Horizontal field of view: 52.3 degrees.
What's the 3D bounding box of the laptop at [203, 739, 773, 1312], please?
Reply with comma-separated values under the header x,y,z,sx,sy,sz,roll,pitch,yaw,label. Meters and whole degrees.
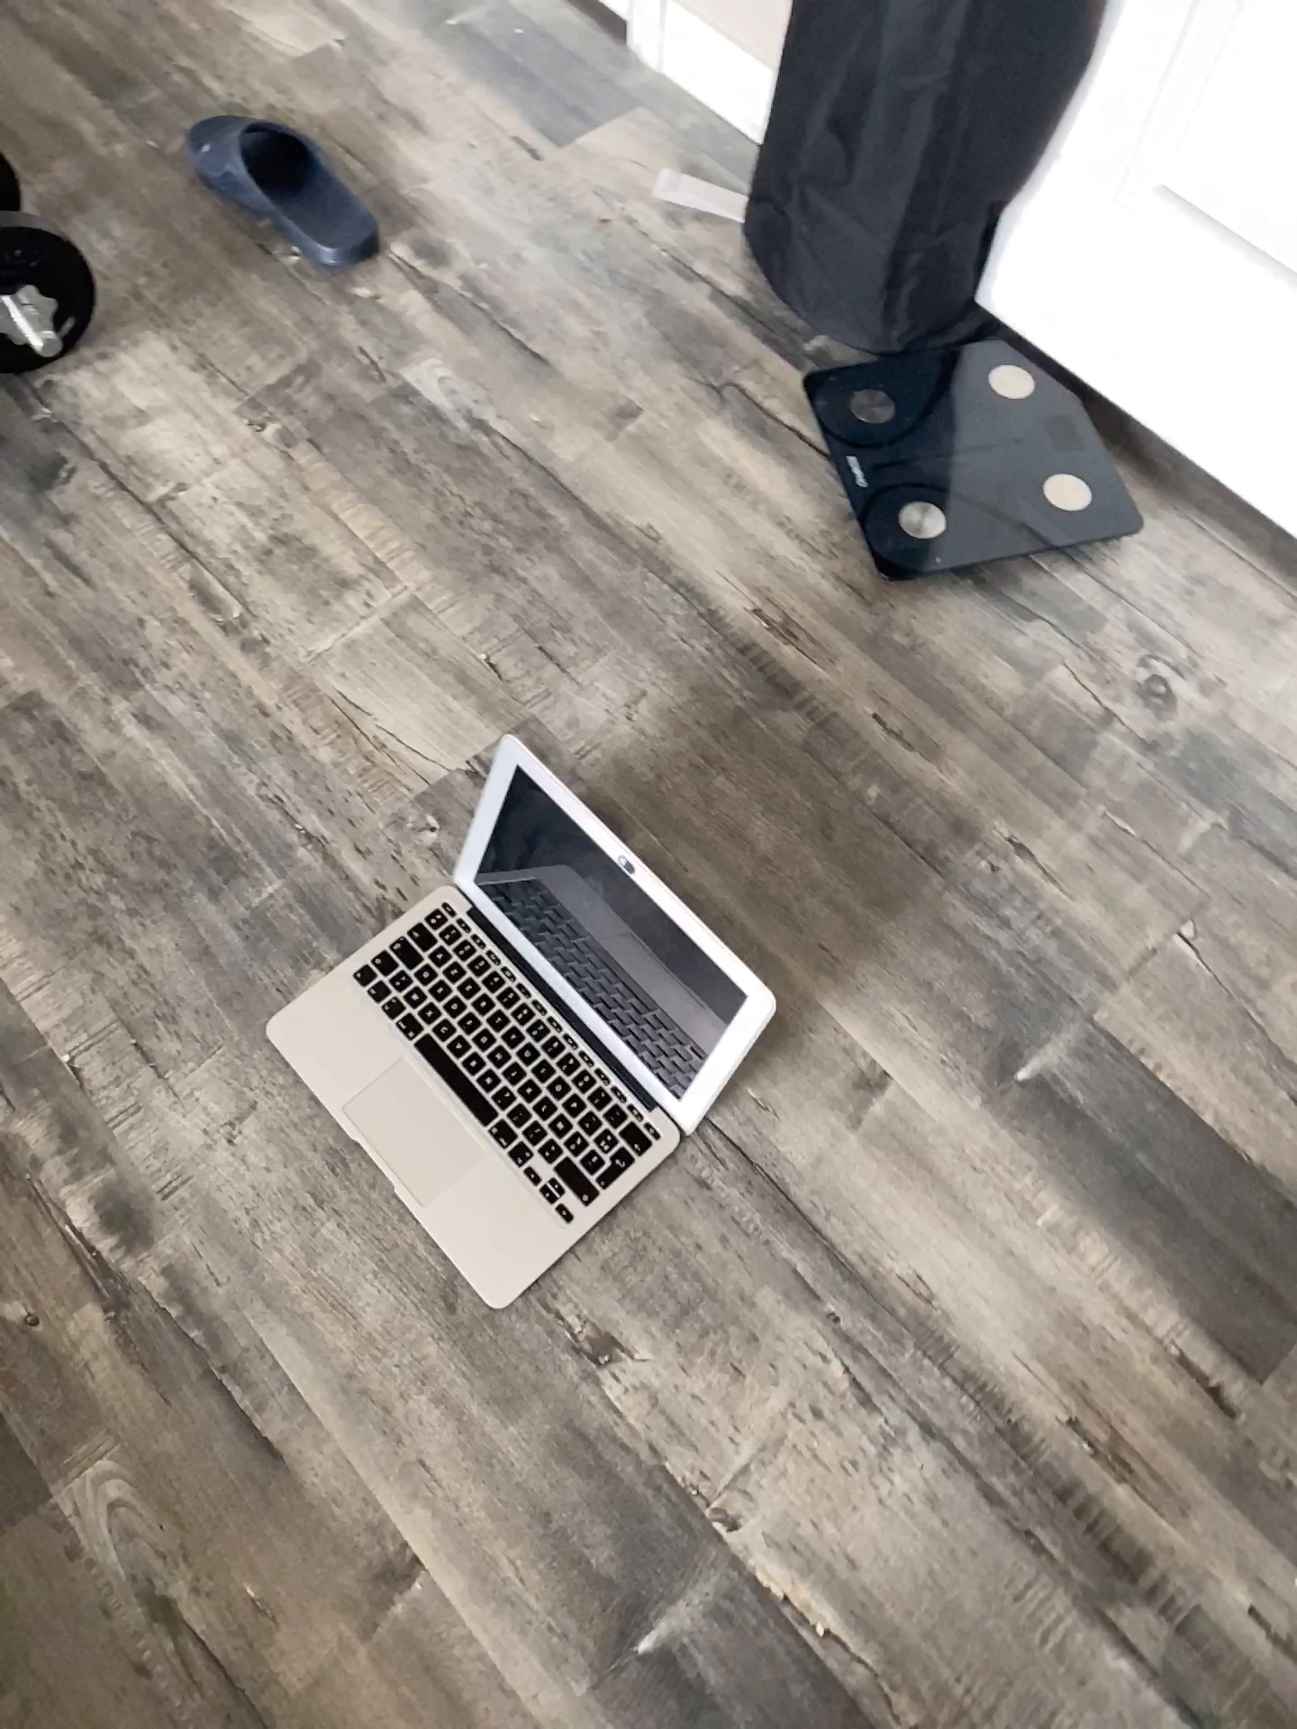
x,y,z,sx,sy,sz,roll,pitch,yaw,label
-0.111,0.112,0.959,0.255,0.159,0.290,-38,71,-21,laptop
